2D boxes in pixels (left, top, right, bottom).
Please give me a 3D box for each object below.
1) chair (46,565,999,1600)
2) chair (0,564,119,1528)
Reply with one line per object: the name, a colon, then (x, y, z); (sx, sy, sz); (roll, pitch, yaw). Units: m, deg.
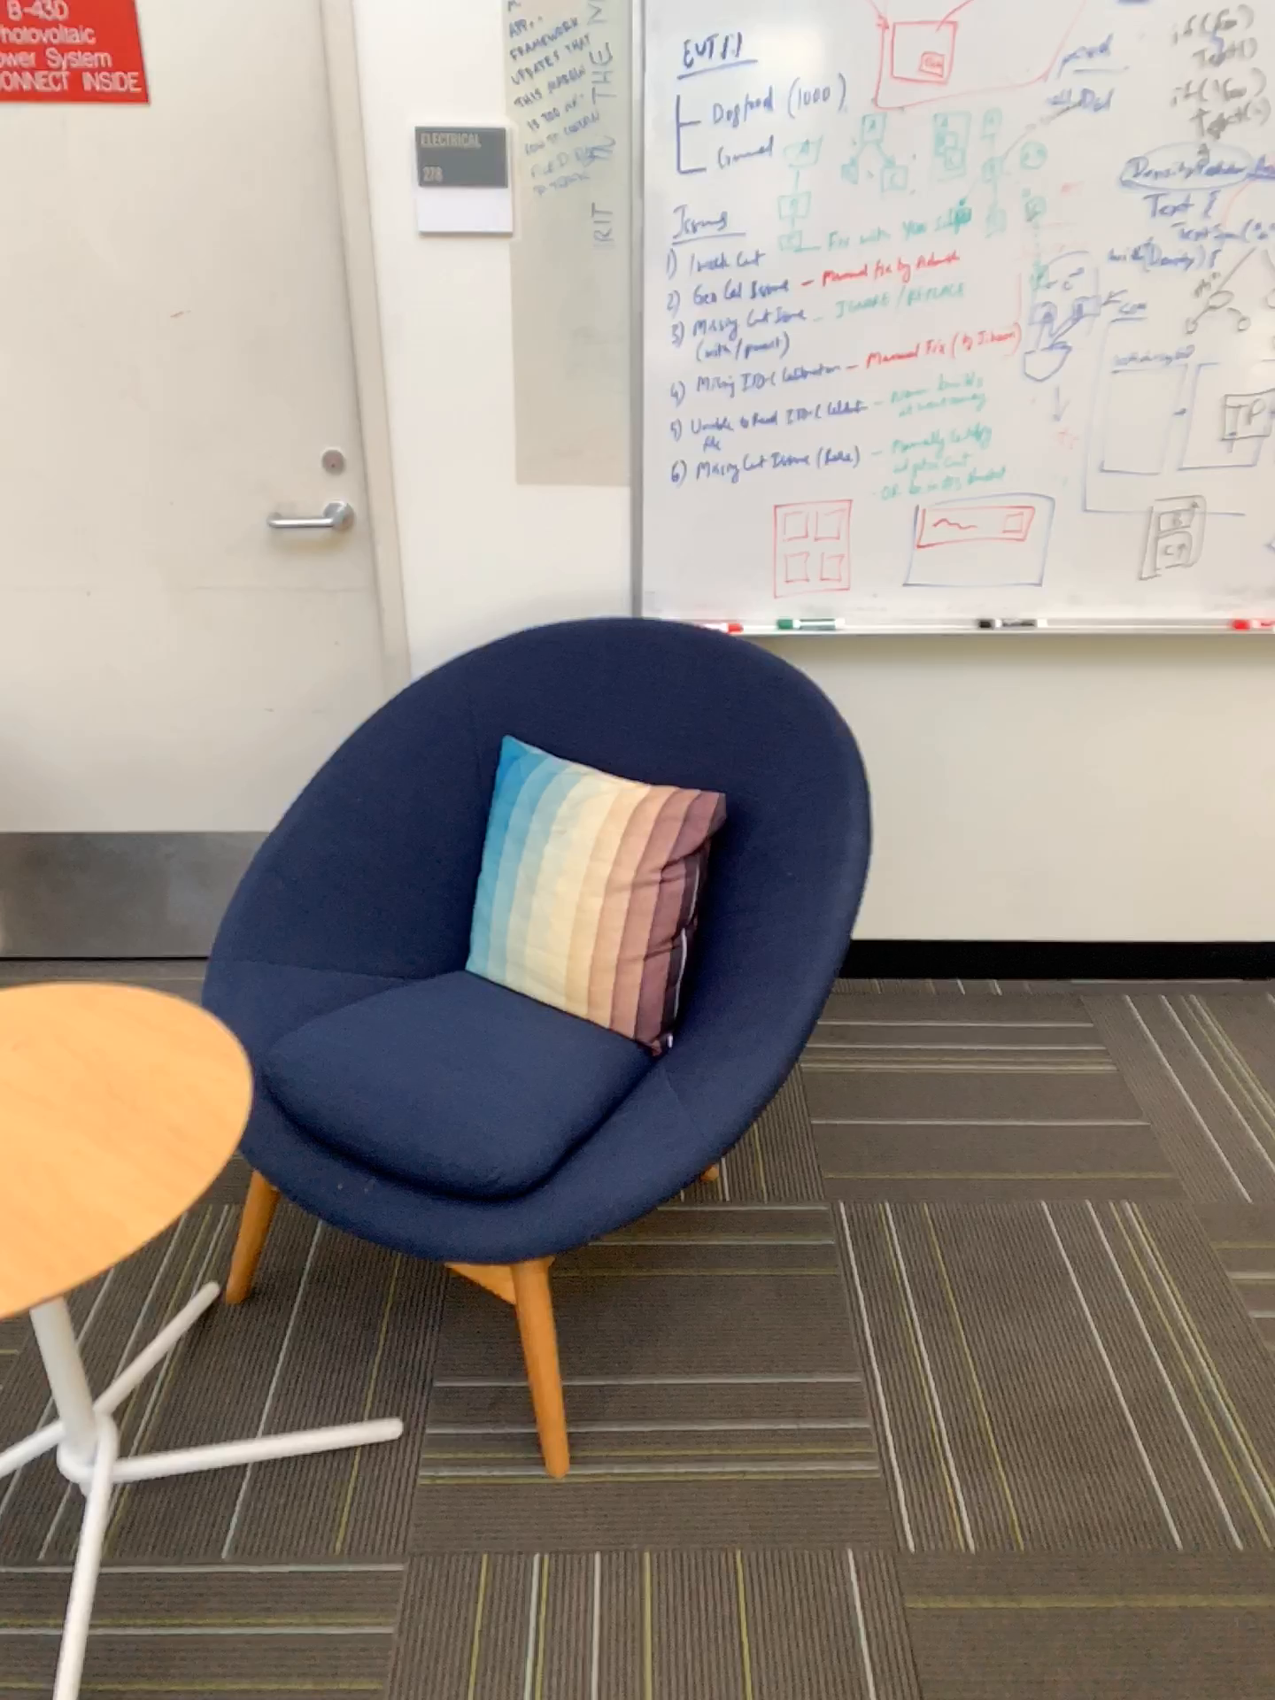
chair: (-0.122, 0.211, 1.956); (0.833, 0.944, 0.983); (22, 35, 35)
chair: (-1.410, 0.162, 1.837); (0.843, 0.835, 0.792); (20, 34, 33)
